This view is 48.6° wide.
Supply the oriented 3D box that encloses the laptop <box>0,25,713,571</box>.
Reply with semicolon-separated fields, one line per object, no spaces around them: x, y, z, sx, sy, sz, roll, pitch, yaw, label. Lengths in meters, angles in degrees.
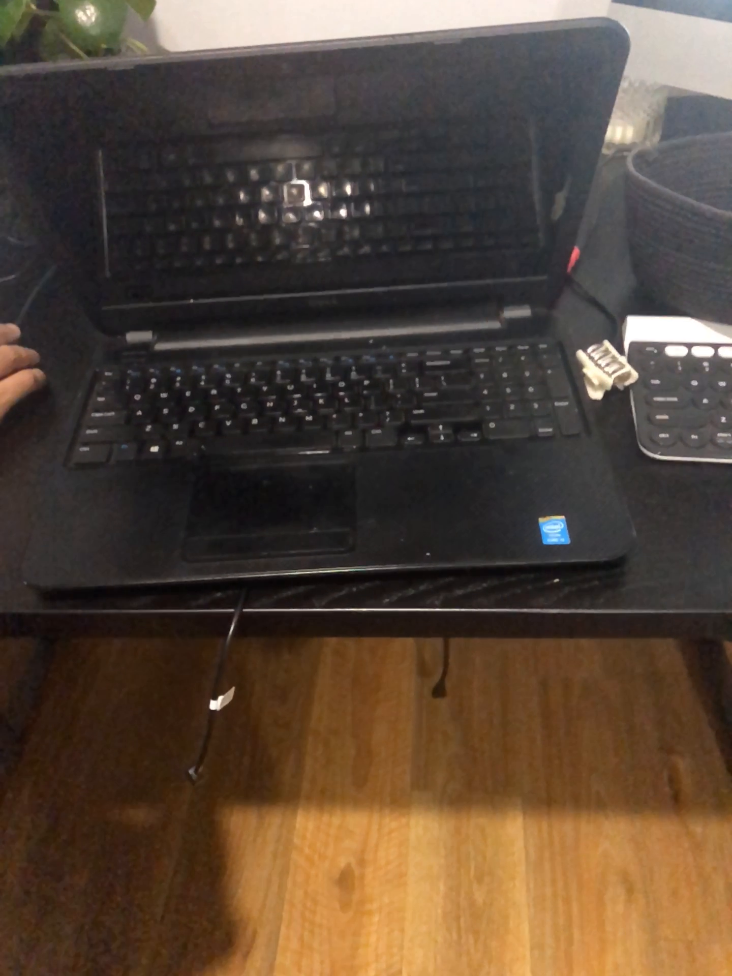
-0.042;-0.107;0.479;0.366;0.210;0.207;-2;46;3;laptop
